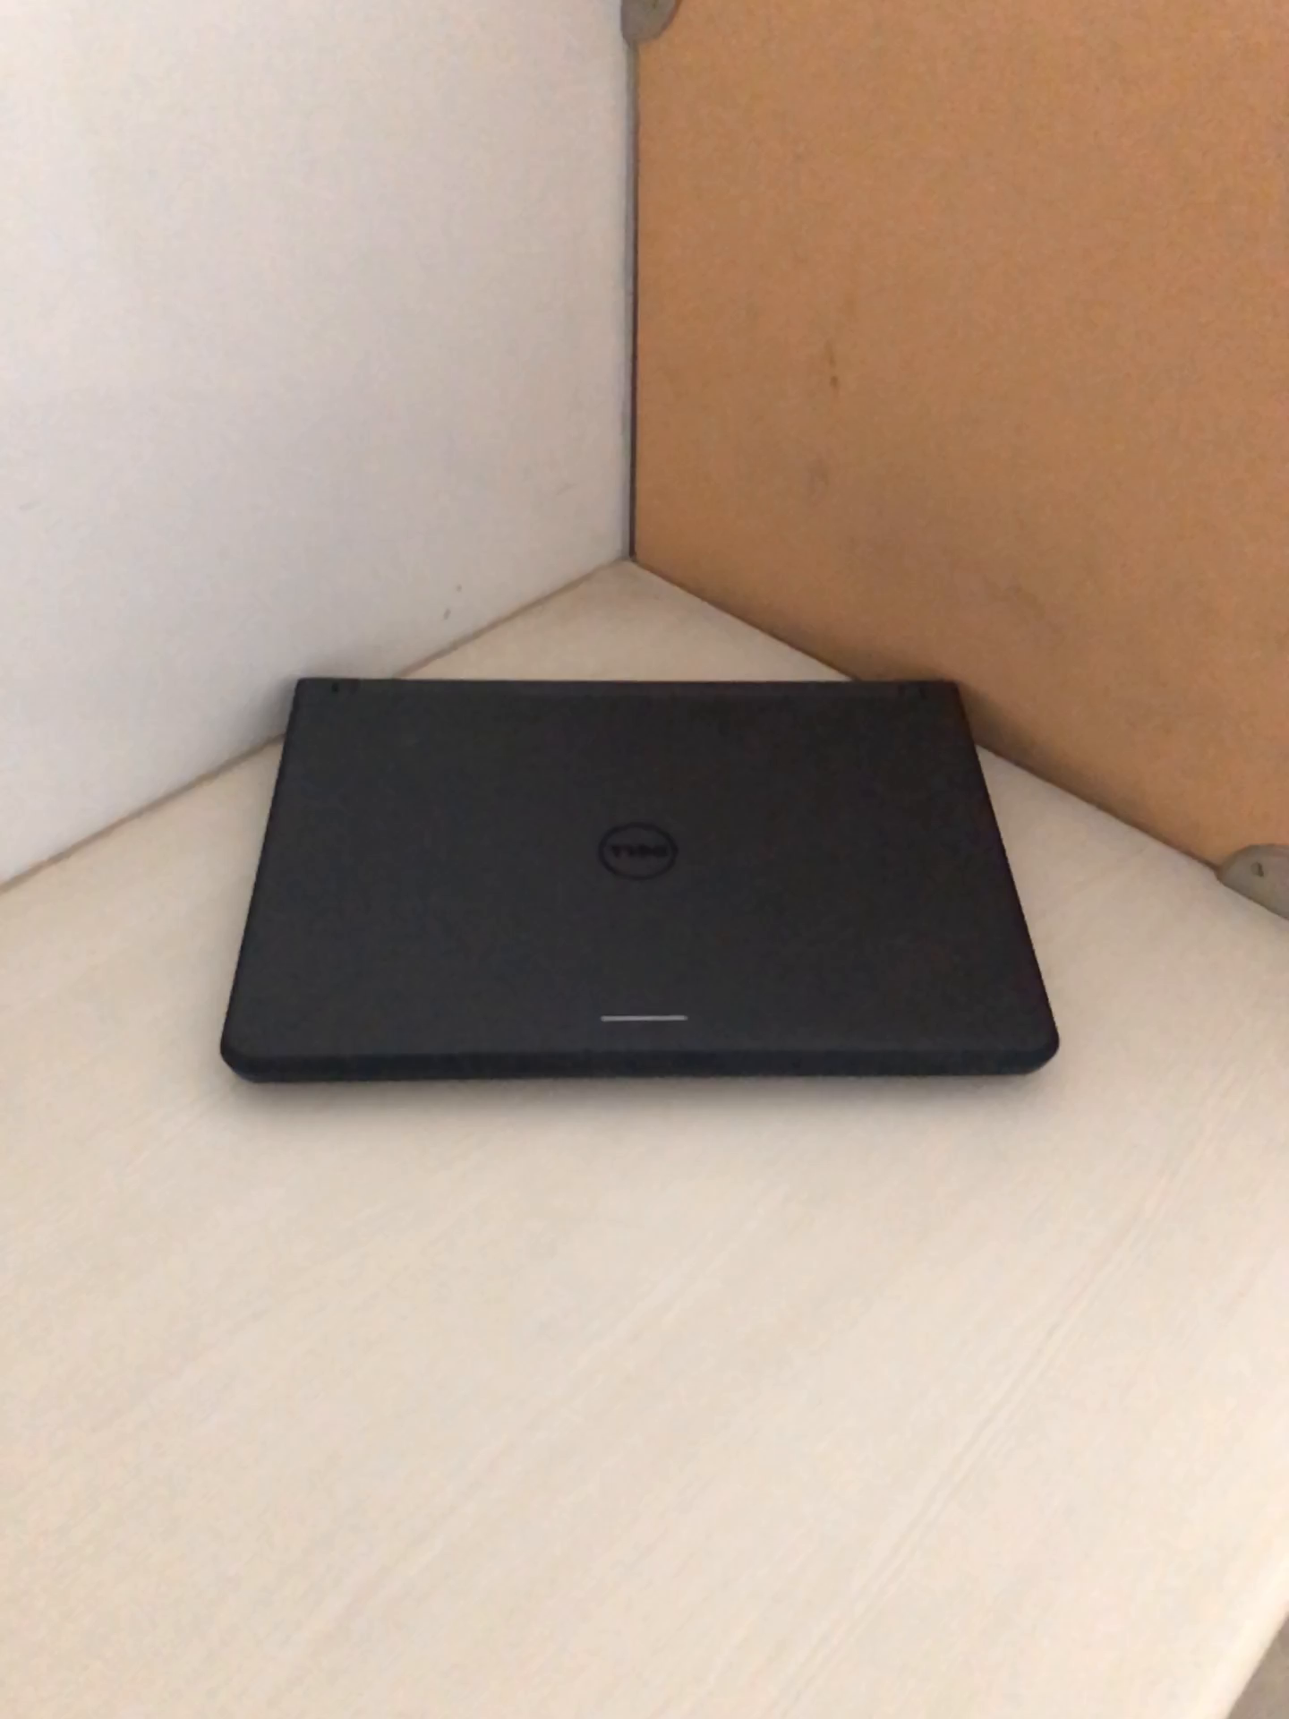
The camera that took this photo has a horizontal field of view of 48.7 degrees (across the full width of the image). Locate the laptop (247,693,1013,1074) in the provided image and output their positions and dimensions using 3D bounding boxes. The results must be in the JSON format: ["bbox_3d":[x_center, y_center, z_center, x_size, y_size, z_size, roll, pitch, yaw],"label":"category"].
[{"bbox_3d":[-0.011,0.000,0.624,0.290,0.007,0.229,0,44,-1],"label":"laptop"}]
